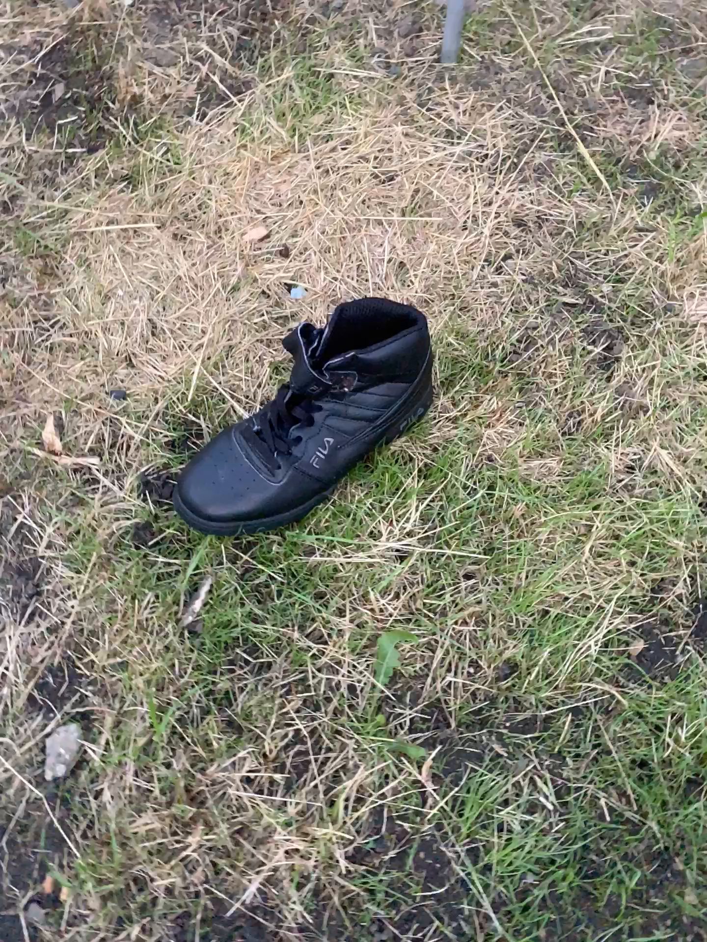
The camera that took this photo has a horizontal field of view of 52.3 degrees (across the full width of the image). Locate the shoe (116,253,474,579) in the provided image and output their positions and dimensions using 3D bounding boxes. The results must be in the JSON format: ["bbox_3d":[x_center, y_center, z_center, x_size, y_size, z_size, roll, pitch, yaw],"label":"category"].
[{"bbox_3d":[-0.041,-0.043,0.605,0.260,0.139,0.100,-35,72,-15],"label":"shoe"}]
